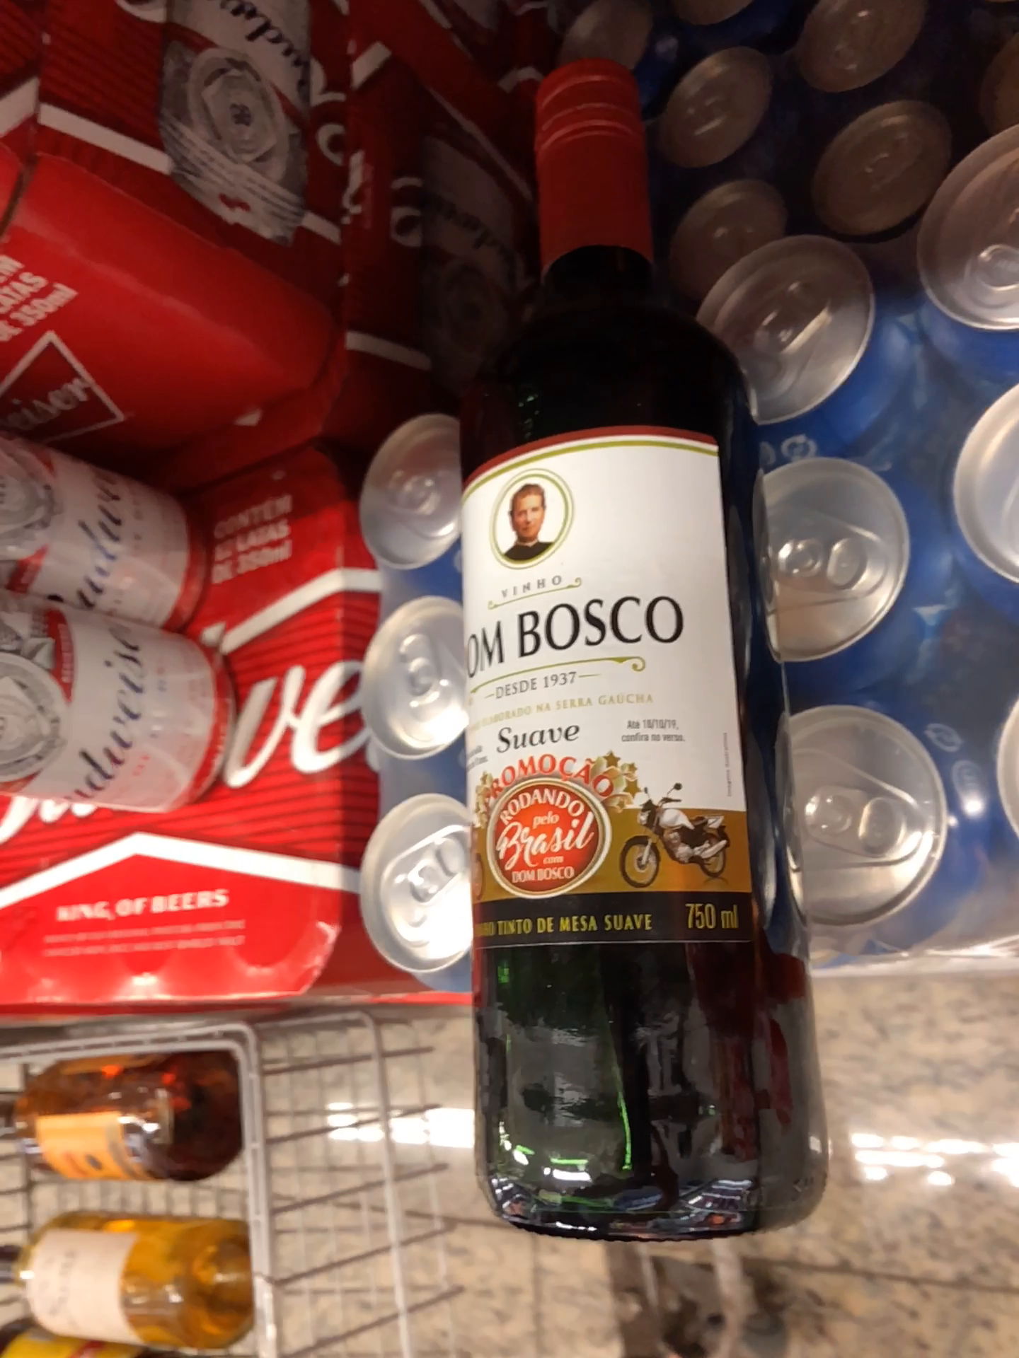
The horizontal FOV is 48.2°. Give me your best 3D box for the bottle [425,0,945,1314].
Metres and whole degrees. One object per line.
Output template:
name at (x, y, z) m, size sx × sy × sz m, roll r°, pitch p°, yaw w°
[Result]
bottle at (0.035, -0.027, 0.277) m, size 0.080 × 0.070 × 0.300 m, roll -13°, pitch 73°, yaw 37°
